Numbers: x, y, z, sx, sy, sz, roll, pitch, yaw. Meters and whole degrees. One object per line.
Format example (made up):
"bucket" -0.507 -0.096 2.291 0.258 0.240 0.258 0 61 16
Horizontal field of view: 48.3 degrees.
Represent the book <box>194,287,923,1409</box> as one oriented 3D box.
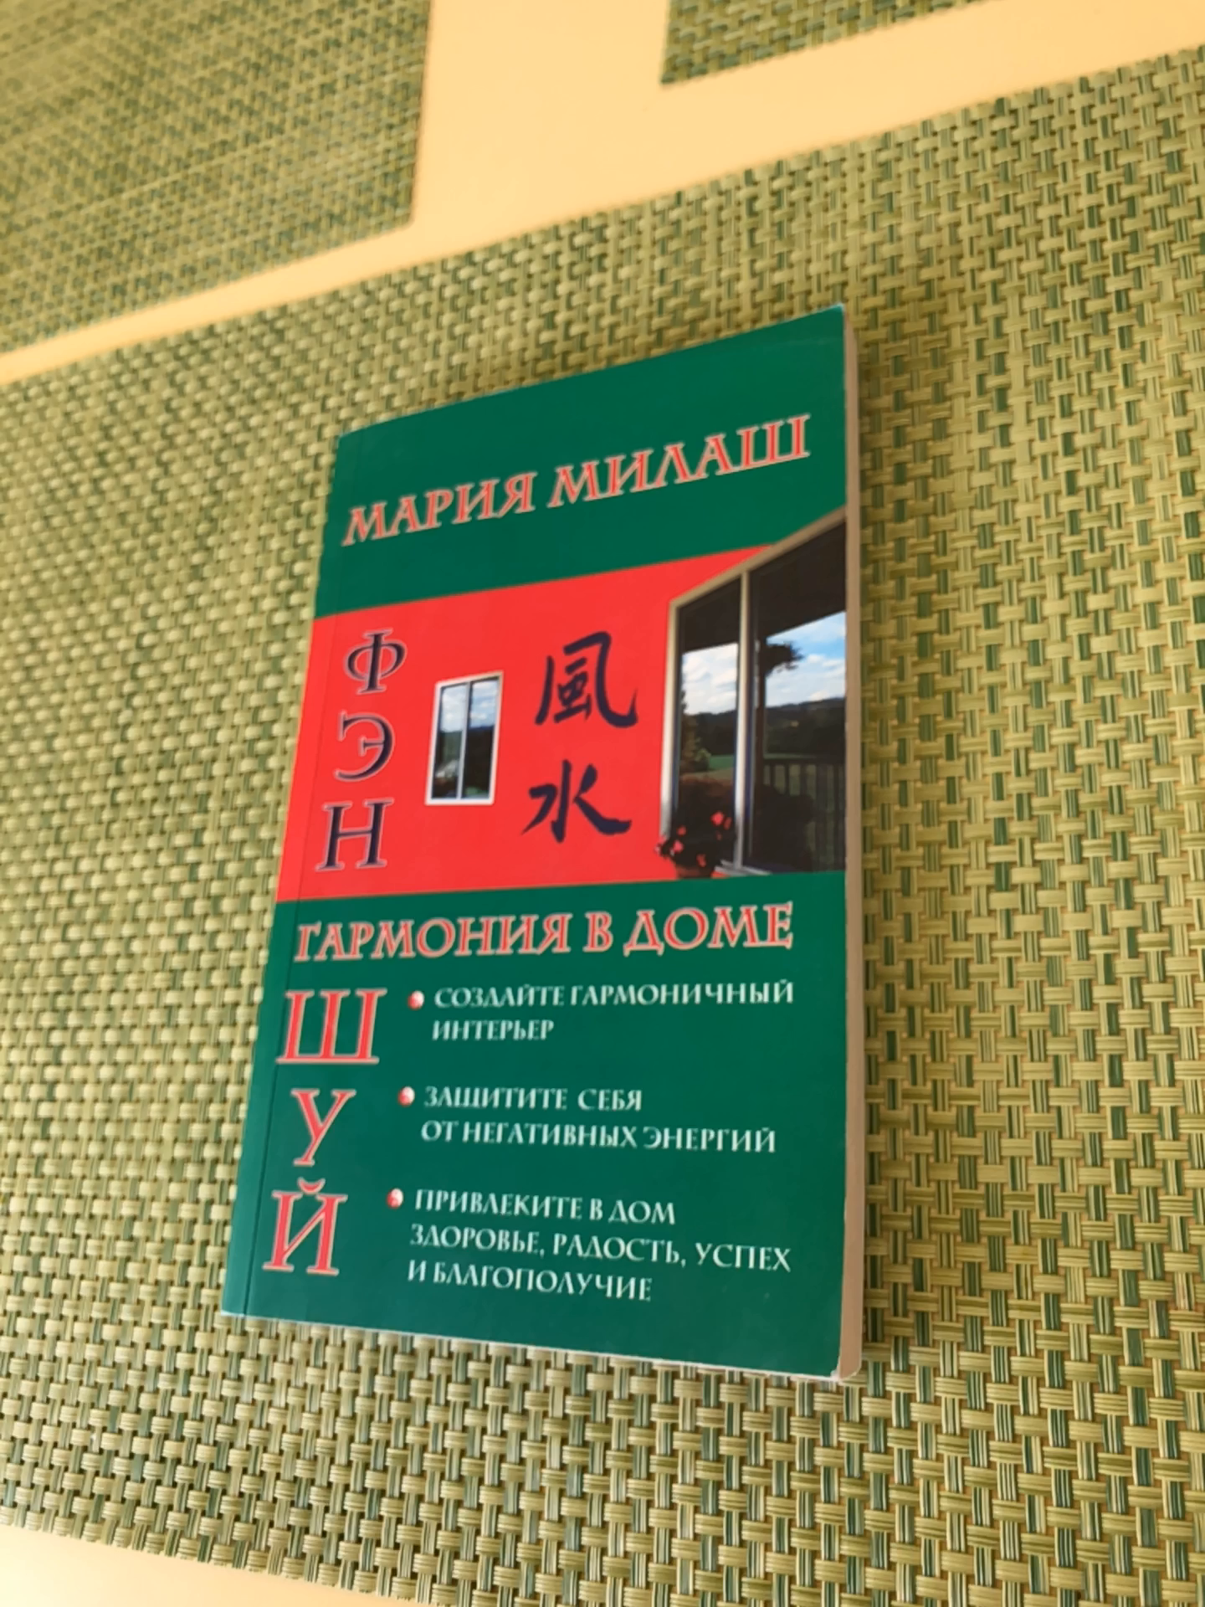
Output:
"book" -0.008 0.004 0.270 0.137 0.020 0.200 -5 70 26
